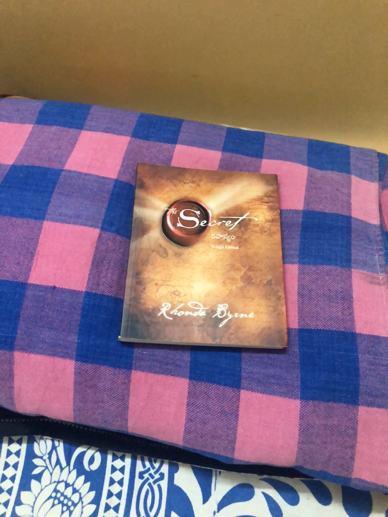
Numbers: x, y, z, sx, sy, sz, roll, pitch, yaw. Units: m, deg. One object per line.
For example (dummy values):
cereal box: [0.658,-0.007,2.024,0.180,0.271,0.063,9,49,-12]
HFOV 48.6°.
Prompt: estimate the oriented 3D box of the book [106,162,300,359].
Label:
book: [0.009,-0.007,0.390,0.150,0.020,0.190,3,58,-2]
